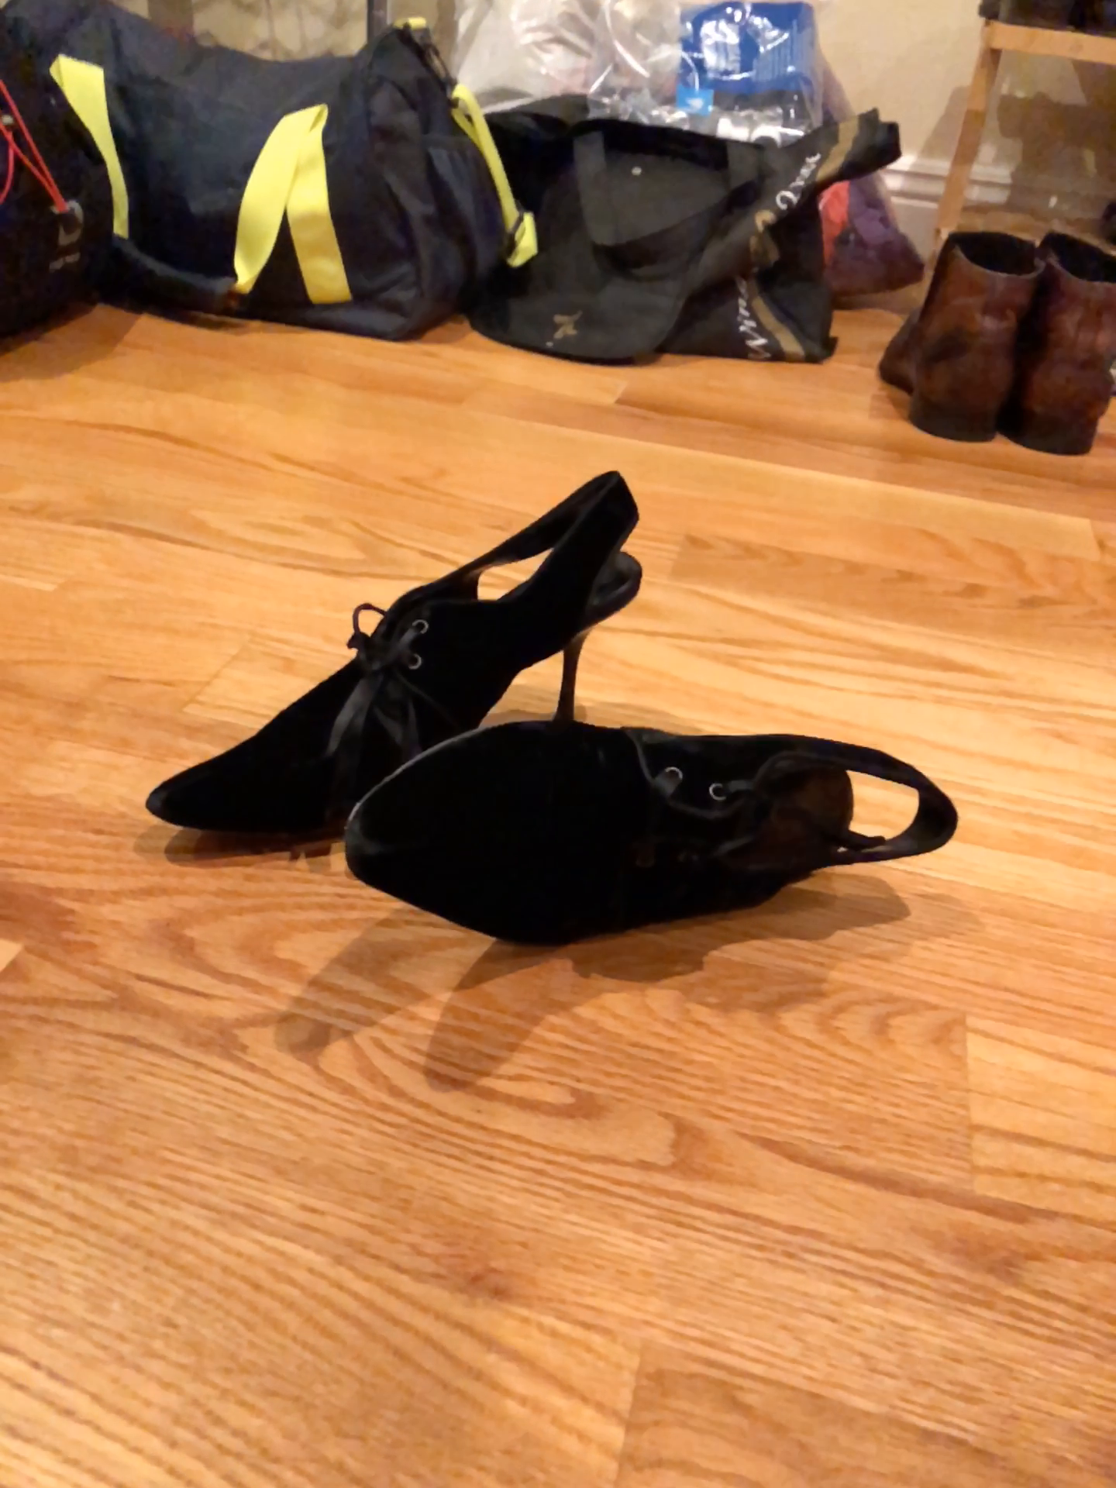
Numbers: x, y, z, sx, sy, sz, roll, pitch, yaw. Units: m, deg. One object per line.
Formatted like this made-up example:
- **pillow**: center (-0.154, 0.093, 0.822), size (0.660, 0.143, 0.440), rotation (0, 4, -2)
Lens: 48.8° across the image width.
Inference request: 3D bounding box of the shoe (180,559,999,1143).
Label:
- **shoe**: center (0.011, 0.021, 0.441), size (0.252, 0.106, 0.118), rotation (-12, 36, -27)

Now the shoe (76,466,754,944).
- **shoe**: center (-0.056, -0.030, 0.528), size (0.253, 0.117, 0.108), rotation (-16, 39, -31)
